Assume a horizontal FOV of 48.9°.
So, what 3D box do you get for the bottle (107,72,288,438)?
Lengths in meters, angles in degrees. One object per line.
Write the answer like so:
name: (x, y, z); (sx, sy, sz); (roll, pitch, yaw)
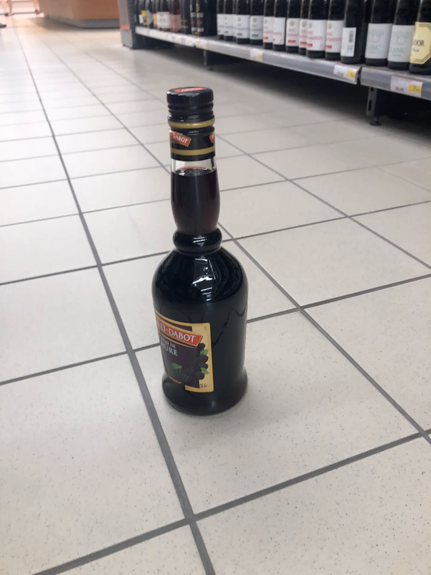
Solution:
bottle: (-0.010, -0.021, 0.372); (0.080, 0.258, 0.090); (-22, 35, -31)
